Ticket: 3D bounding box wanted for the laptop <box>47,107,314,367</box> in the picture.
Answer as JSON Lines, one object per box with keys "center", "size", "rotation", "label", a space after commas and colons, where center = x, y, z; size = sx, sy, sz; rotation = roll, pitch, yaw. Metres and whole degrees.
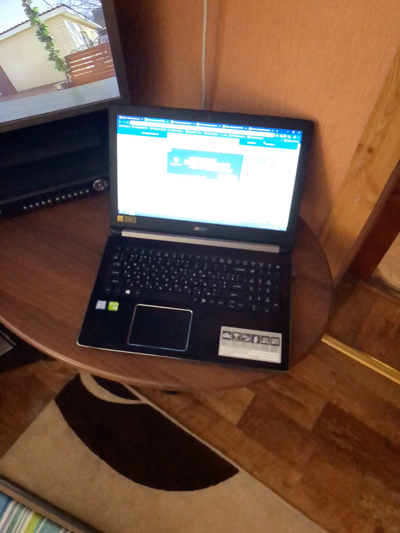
{"center": [-0.005, -0.061, 0.791], "size": [0.372, 0.186, 0.391], "rotation": [6, 59, 3], "label": "laptop"}
